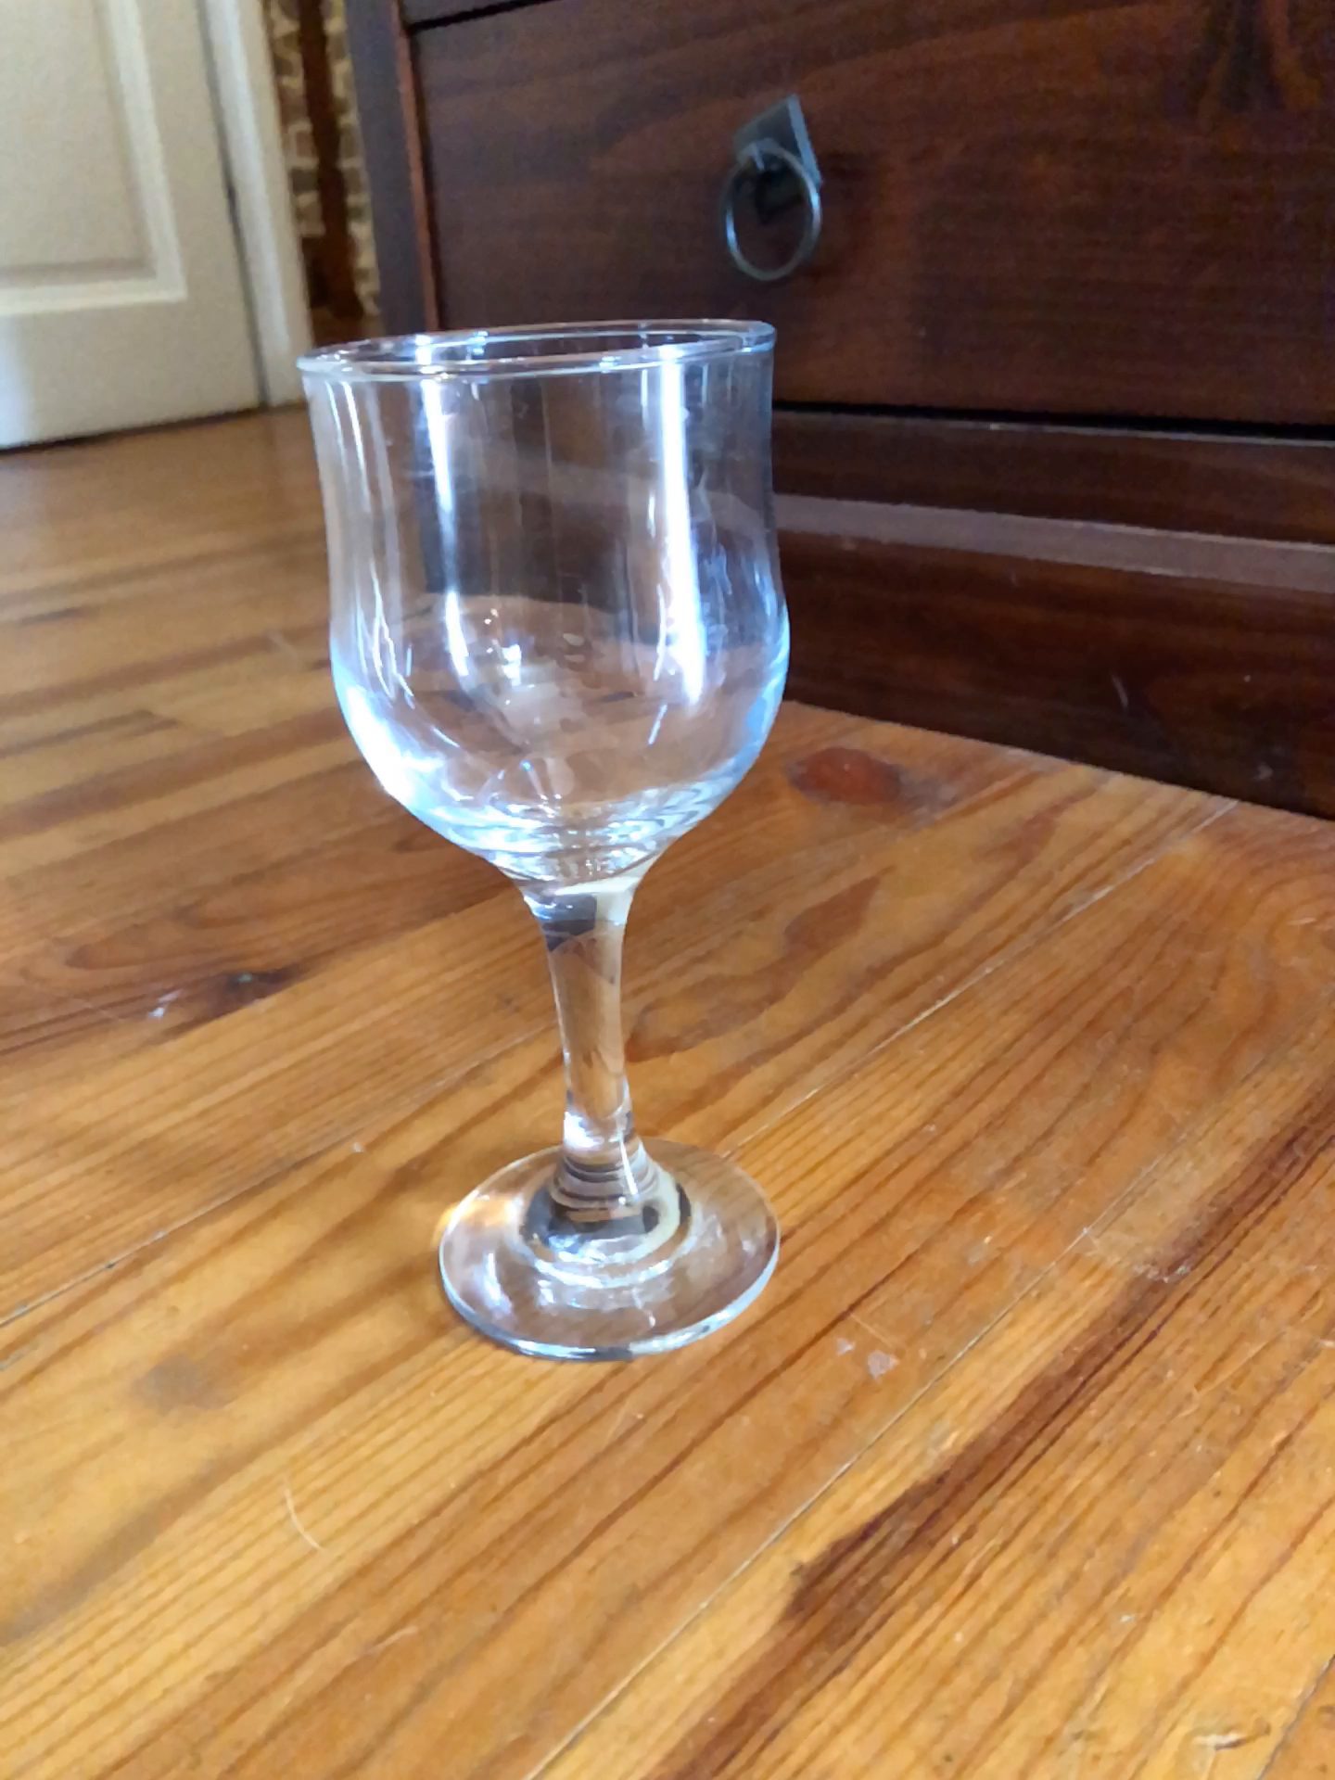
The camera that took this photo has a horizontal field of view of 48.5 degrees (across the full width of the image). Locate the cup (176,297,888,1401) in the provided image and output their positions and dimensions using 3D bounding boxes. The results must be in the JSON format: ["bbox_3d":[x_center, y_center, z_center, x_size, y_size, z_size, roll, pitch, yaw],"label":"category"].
[{"bbox_3d":[-0.009,-0.010,0.244,0.082,0.157,0.077,-3,23,1],"label":"cup"}]
